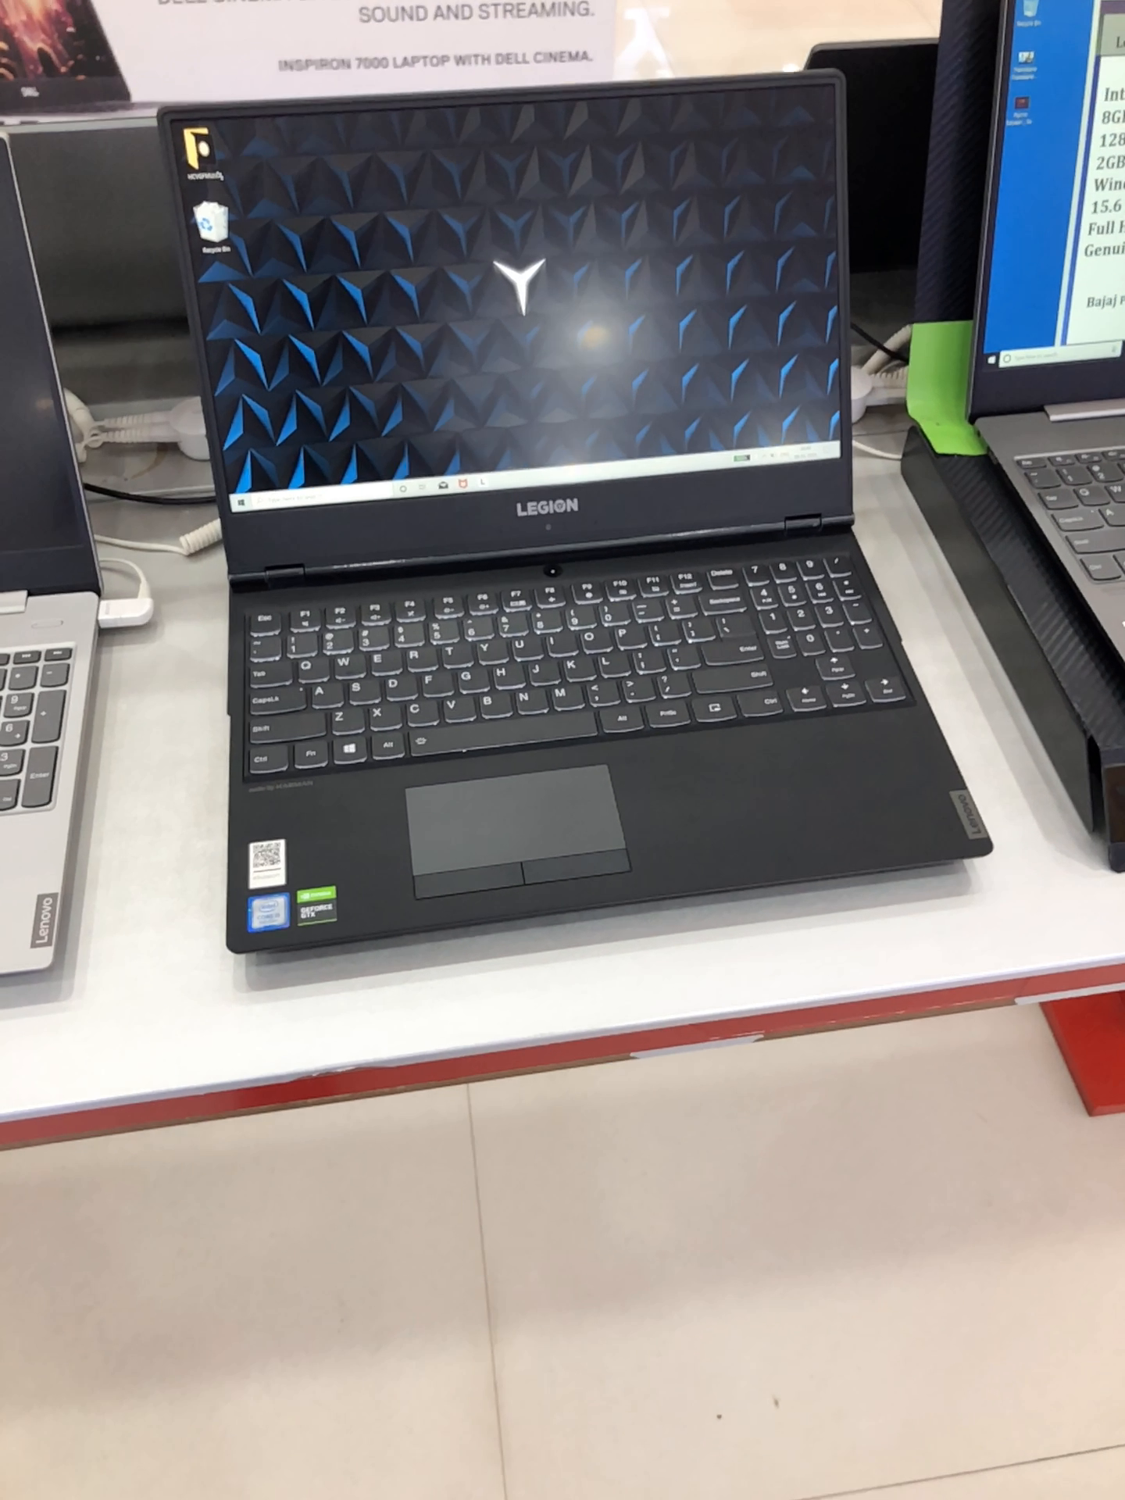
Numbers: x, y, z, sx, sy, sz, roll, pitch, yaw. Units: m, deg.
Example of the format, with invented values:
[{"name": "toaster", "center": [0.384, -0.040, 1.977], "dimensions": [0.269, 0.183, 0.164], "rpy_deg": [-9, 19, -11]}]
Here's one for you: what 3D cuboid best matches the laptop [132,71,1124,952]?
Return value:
[{"name": "laptop", "center": [0.004, -0.130, 0.578], "dimensions": [0.334, 0.191, 0.349], "rpy_deg": [-7, 51, -7]}]
